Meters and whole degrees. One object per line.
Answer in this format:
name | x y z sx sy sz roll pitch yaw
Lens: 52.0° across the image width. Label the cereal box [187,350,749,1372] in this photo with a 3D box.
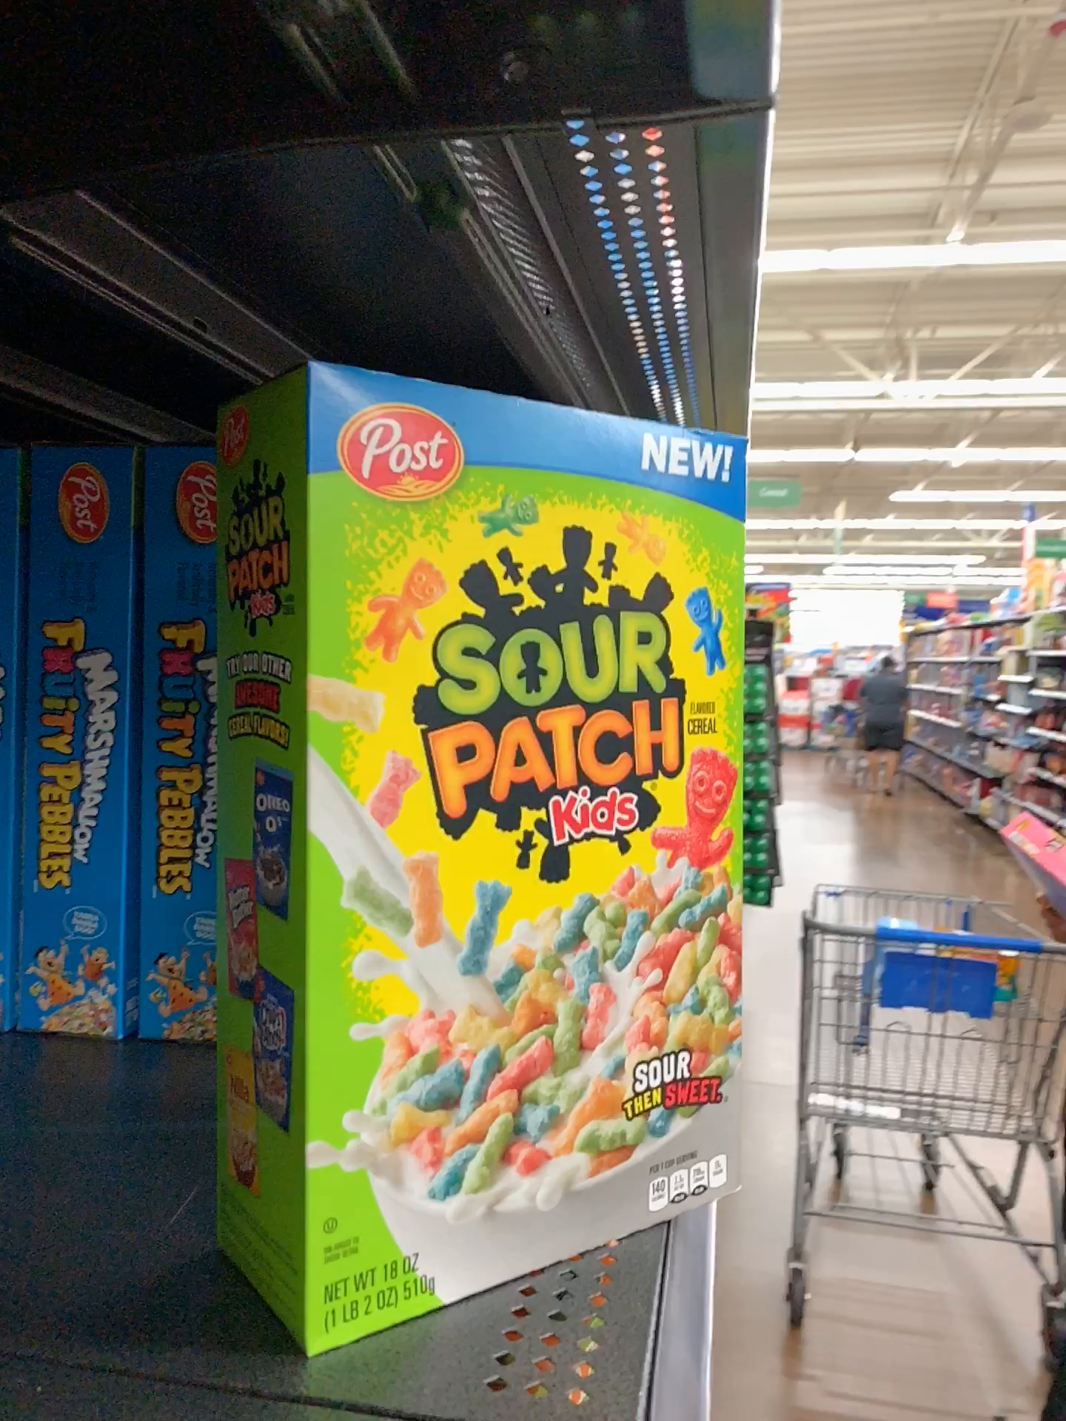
cereal box | -0.019 0.044 0.421 0.200 0.310 0.080 -1 2 -36
